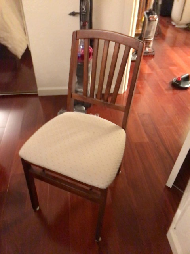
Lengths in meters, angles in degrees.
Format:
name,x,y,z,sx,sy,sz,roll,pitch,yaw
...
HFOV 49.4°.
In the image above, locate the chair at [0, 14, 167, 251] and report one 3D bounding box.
name,x,y,z,sx,sy,sz,roll,pitch,yaw
chair,-0.055,0.039,1.029,0.500,0.923,0.564,17,42,17
